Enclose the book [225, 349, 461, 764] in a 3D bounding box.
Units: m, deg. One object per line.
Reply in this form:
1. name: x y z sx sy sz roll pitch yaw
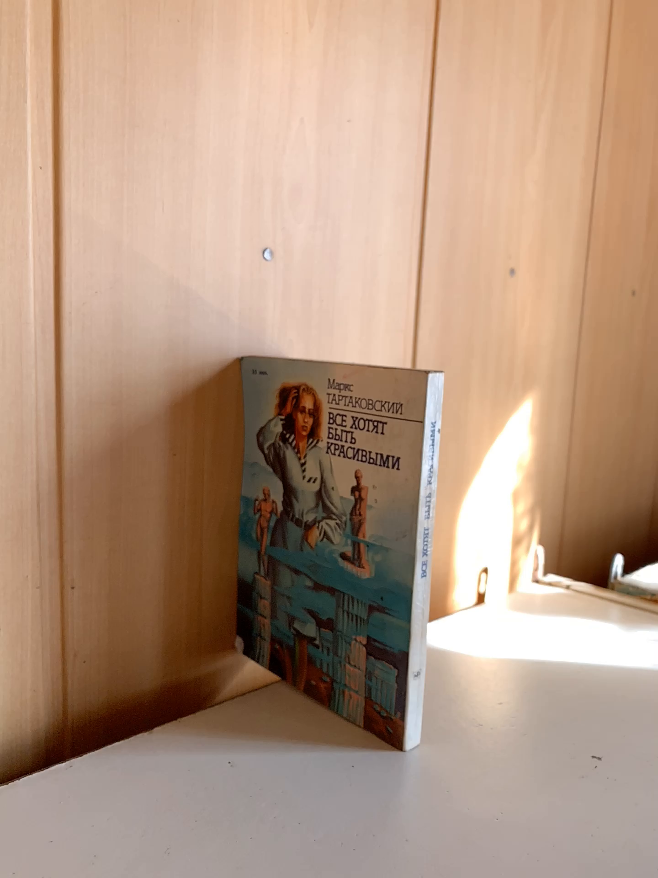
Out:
1. book: -0.002 0.042 0.323 0.029 0.160 0.124 -3 10 -40
